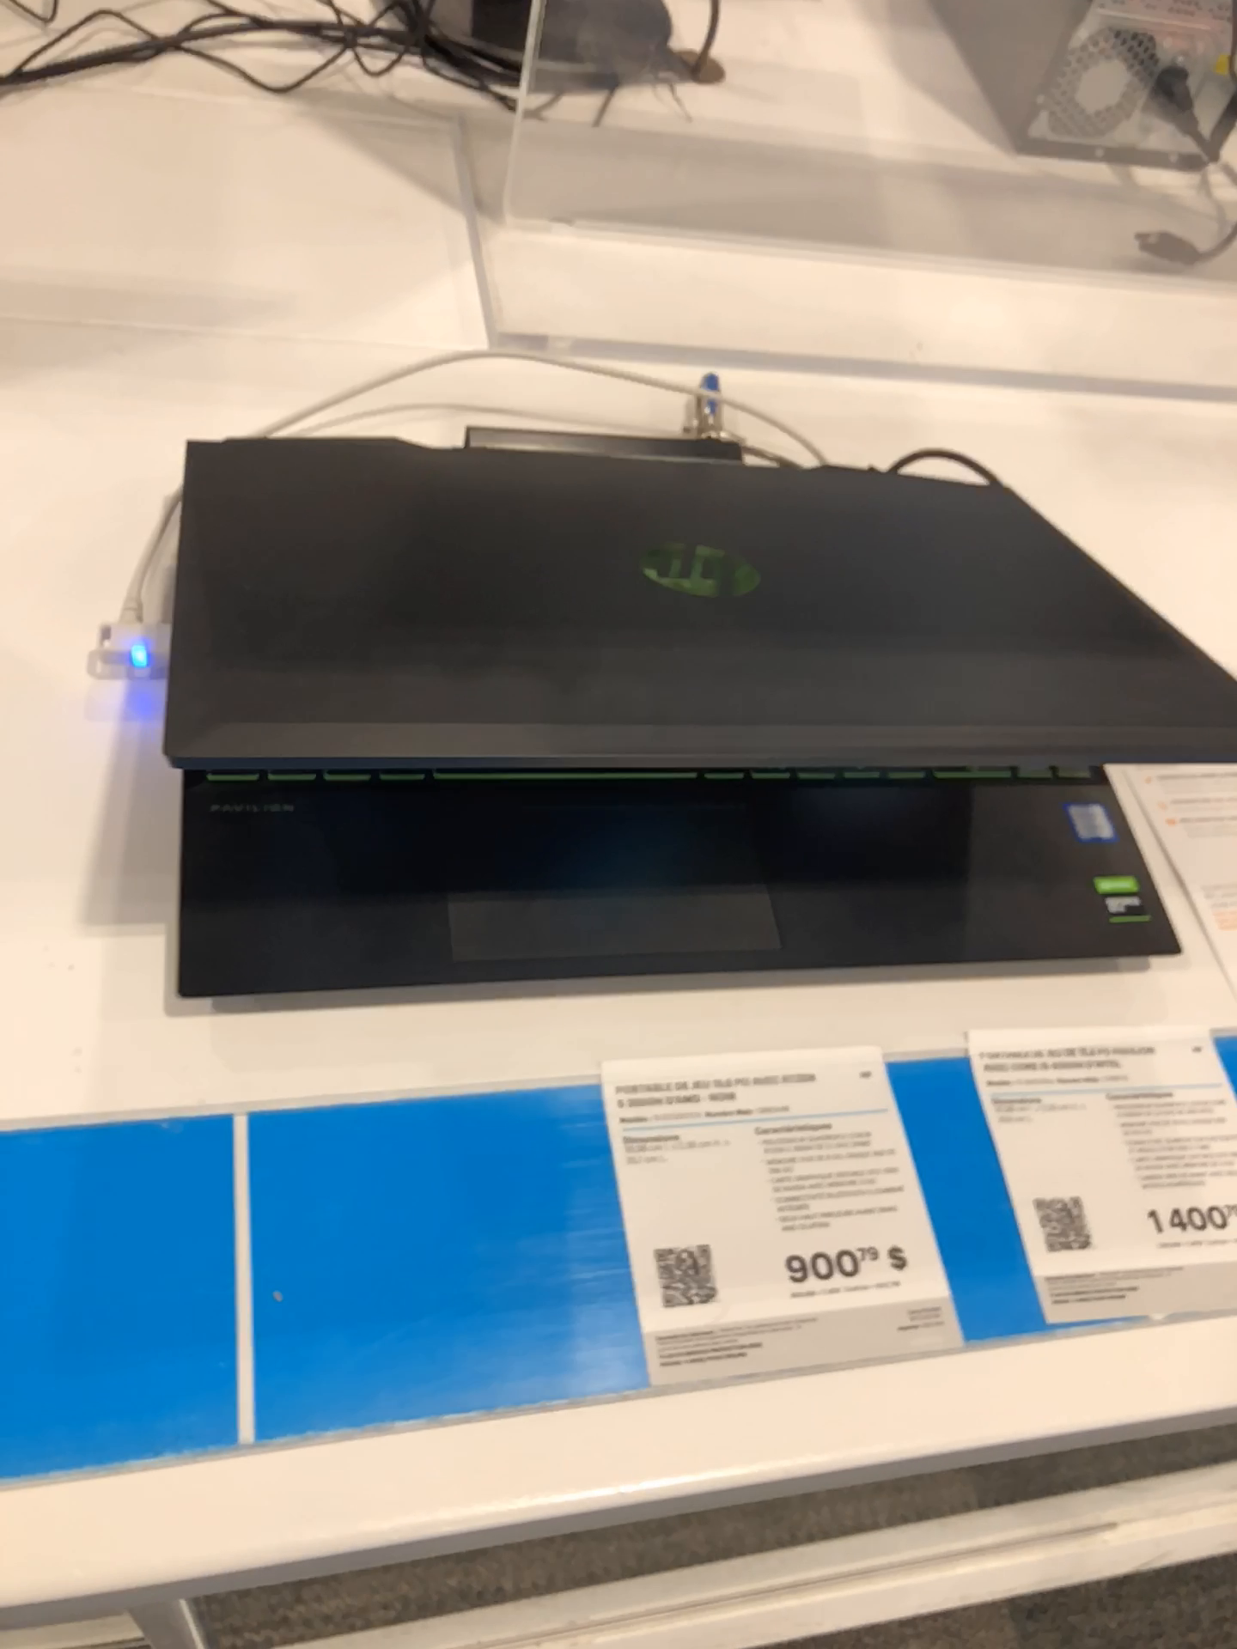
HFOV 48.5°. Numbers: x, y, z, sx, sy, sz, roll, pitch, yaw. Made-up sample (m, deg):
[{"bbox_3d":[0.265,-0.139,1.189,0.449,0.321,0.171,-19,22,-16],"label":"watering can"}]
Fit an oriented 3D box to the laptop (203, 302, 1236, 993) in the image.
[{"bbox_3d":[0.030,-0.068,0.491,0.339,0.064,0.221,-1,61,-16],"label":"laptop"}]
